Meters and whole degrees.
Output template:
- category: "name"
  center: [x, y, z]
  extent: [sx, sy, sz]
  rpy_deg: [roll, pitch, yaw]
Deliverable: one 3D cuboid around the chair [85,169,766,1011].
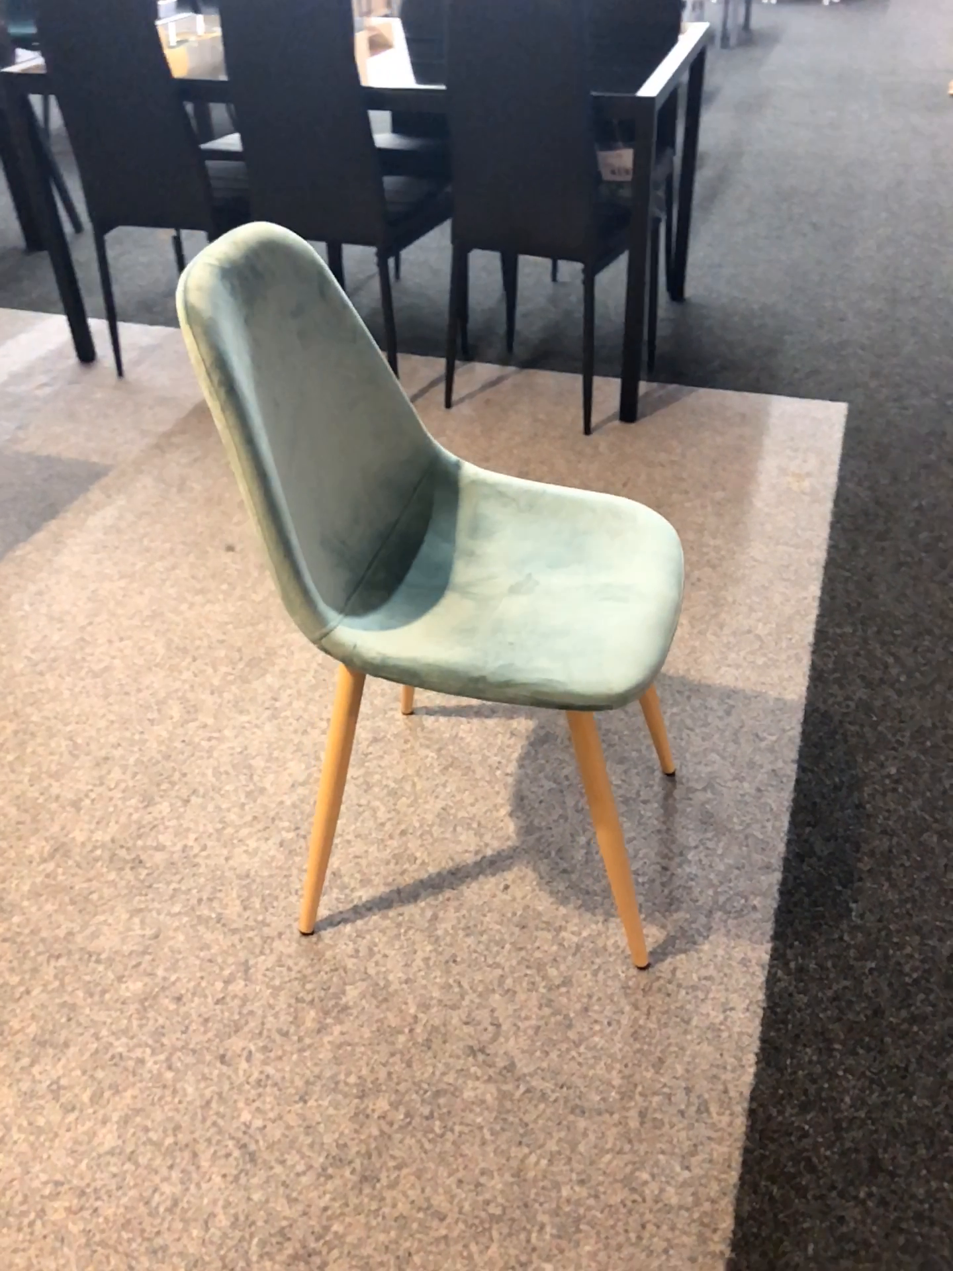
- category: "chair"
  center: [0.008, -0.049, 1.251]
  extent: [0.549, 0.835, 0.473]
  rpy_deg: [6, 38, 11]
